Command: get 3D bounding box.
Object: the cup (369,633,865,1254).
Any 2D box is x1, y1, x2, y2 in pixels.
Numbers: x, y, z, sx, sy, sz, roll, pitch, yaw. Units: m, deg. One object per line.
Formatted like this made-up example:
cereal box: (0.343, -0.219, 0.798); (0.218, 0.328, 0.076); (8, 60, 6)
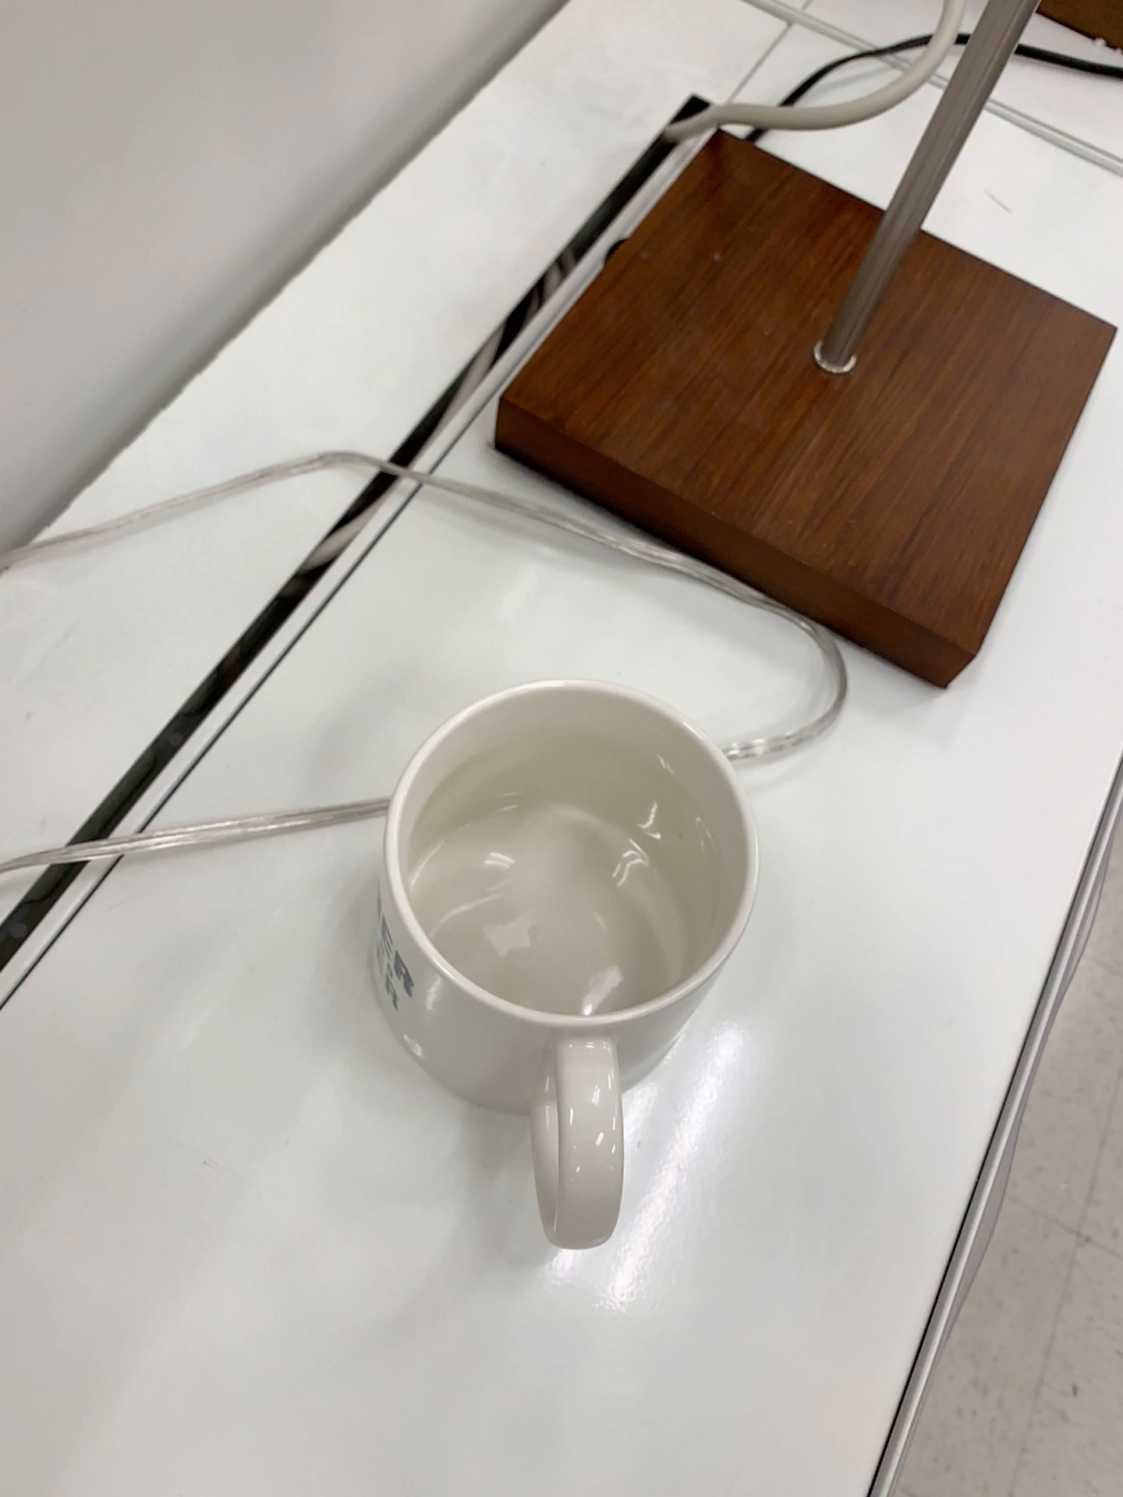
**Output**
cup: (0.003, 0.065, 0.365); (0.120, 0.120, 0.160); (1, 64, -8)
